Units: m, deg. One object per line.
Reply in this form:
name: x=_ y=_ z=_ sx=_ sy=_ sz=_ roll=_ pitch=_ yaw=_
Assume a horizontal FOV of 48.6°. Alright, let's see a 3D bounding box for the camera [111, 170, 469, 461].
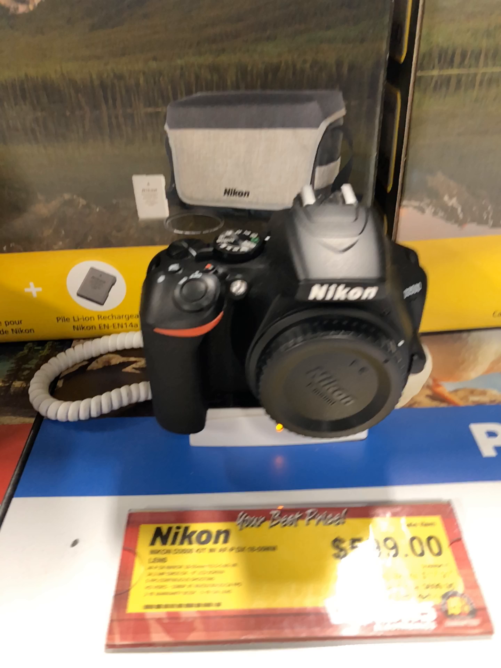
camera: x=0.015 y=-0.009 z=0.247 sx=0.120 sy=0.099 sz=0.081 roll=-1 pitch=36 yaw=2
